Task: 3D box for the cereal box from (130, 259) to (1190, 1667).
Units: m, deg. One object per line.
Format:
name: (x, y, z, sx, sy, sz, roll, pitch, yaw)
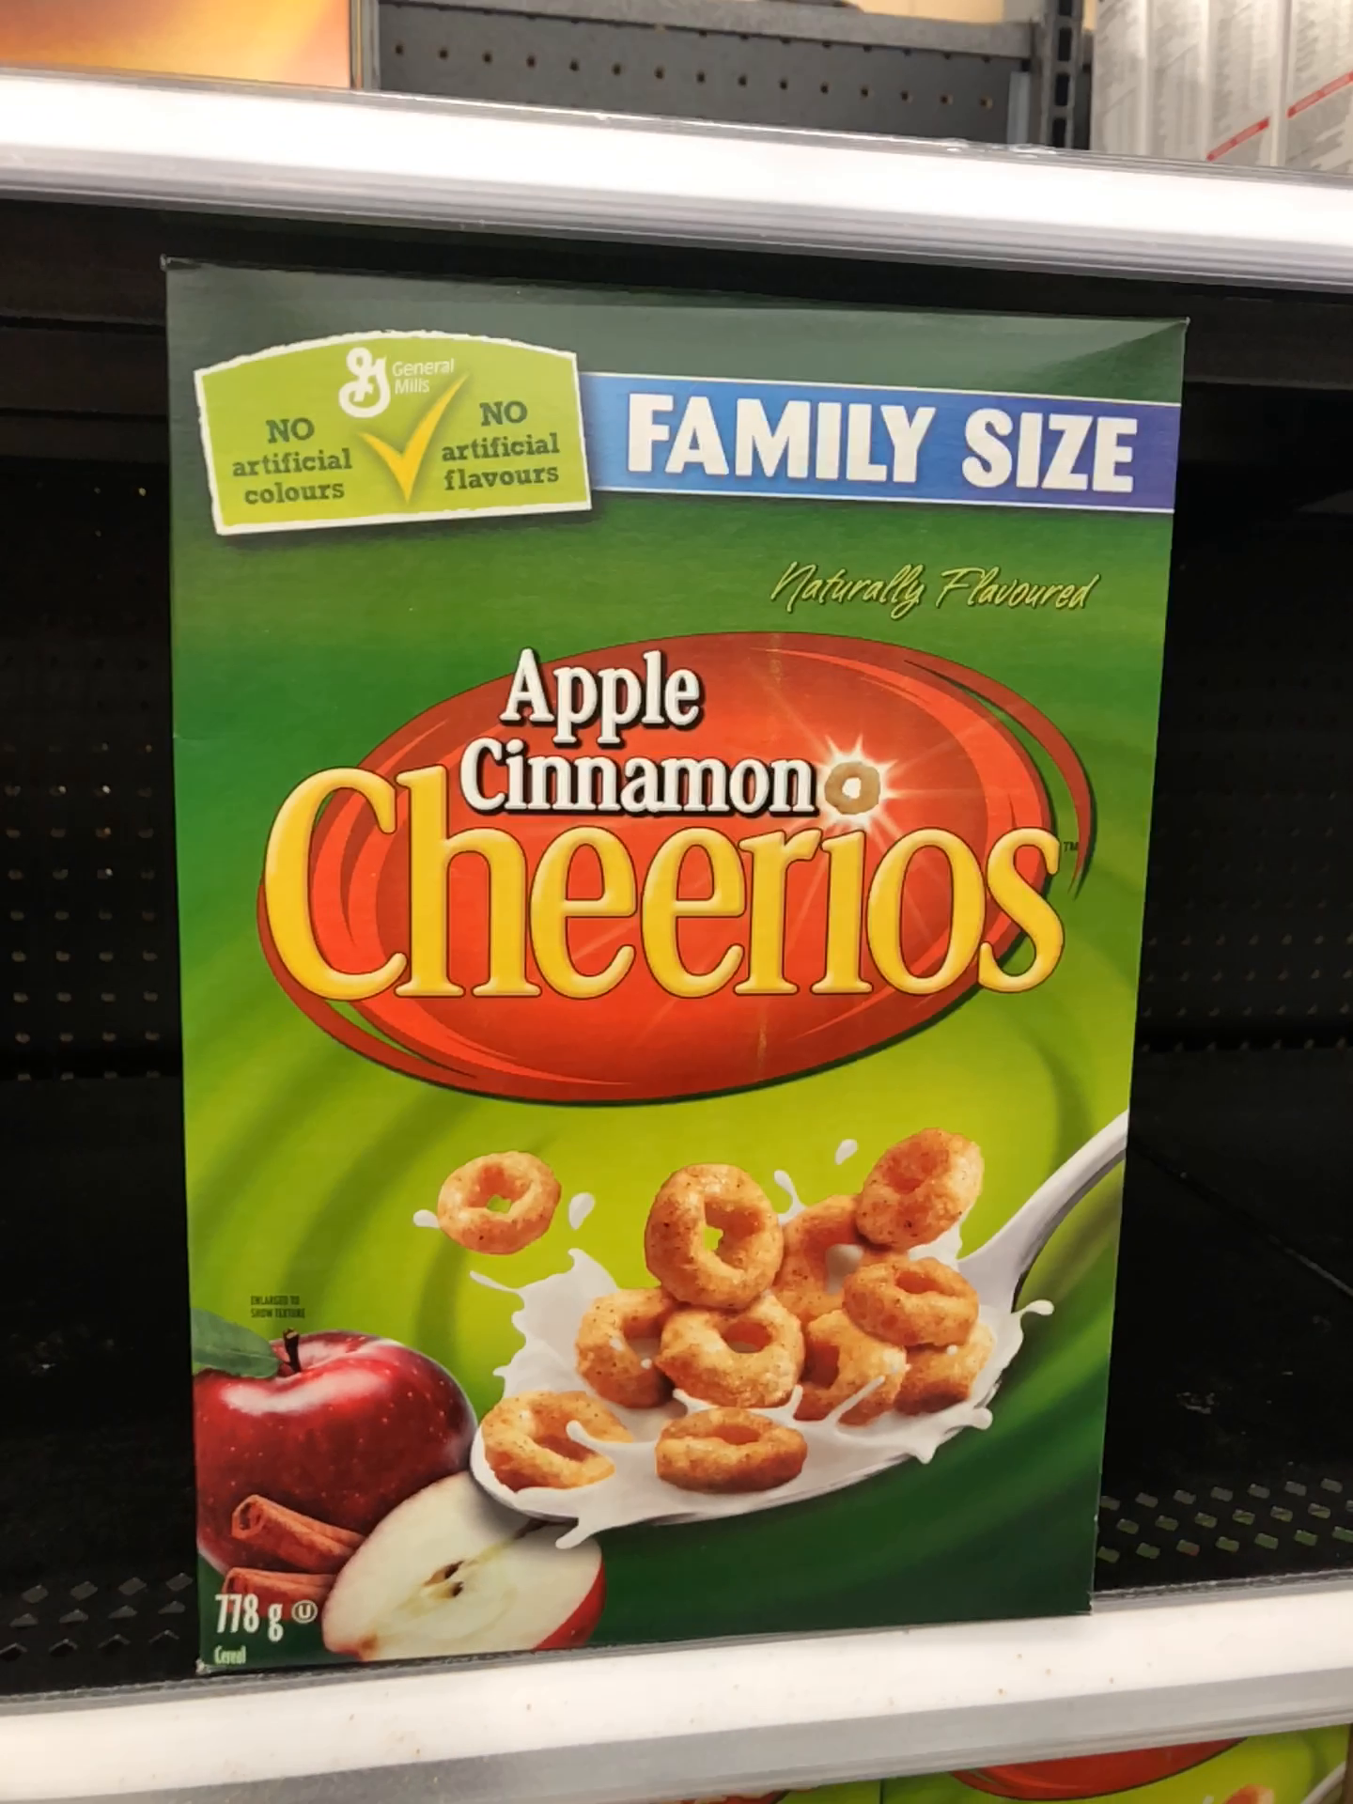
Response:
cereal box: (-0.006, 0.018, 0.399, 0.240, 0.329, 0.080, 0, 9, -8)
